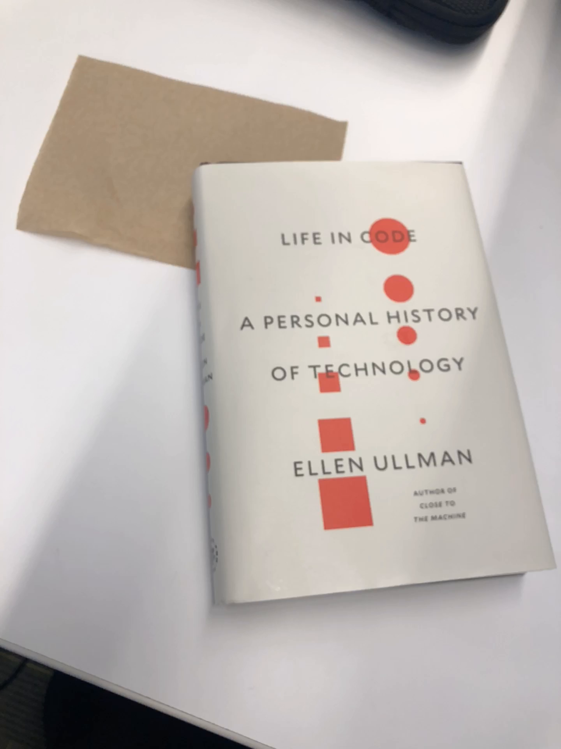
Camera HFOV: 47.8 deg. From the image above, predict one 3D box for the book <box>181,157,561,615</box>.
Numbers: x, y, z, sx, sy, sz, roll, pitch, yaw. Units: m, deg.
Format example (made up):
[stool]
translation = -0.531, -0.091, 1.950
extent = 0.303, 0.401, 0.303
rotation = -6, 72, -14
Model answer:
[book]
translation = 0.036, -0.007, 0.312
extent = 0.160, 0.030, 0.220
rotation = -2, 70, -8
